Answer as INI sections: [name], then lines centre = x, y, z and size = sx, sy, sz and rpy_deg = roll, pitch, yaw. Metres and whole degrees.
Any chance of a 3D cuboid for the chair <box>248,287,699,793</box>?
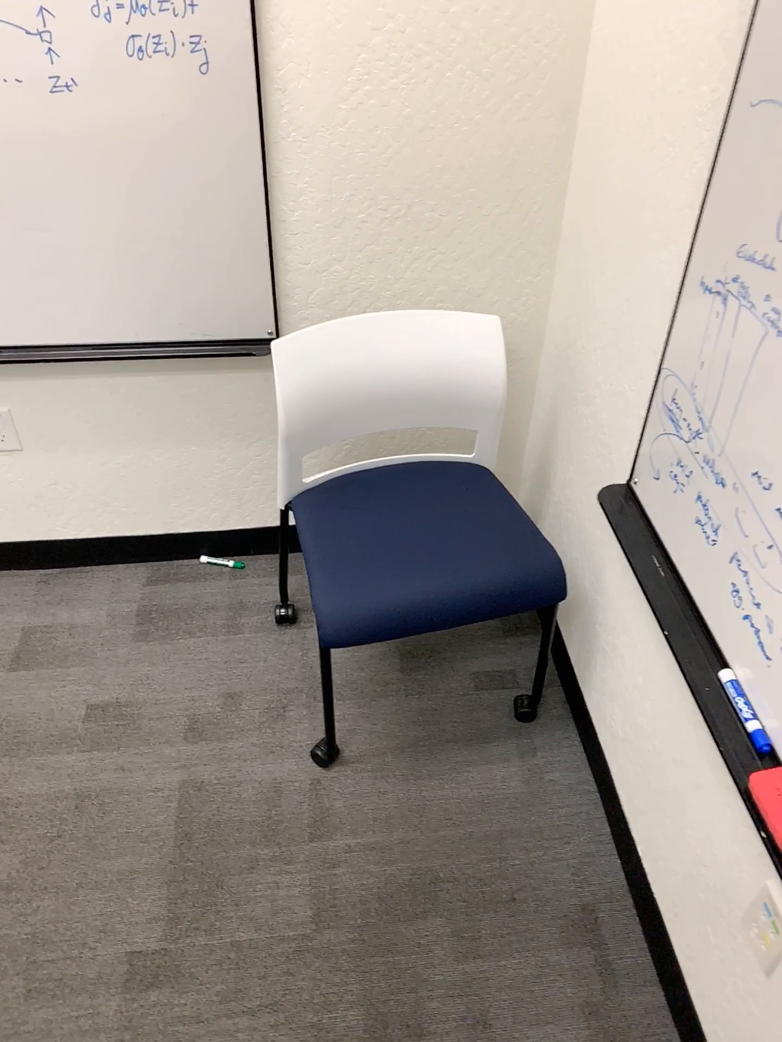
[chair]
centre = 0.107, 0.031, 1.822
size = 0.700, 0.835, 0.644
rpy_deg = -9, 41, -12
